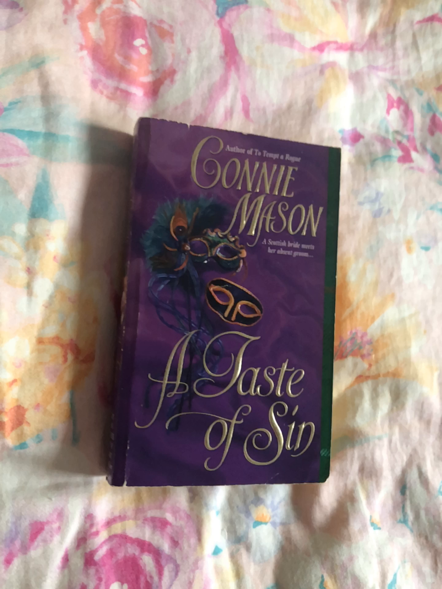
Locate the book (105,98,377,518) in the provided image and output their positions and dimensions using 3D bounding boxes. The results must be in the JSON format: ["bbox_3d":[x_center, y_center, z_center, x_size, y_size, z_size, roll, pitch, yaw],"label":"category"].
[{"bbox_3d":[0.010,0.006,0.248,0.120,0.040,0.180,5,77,-21],"label":"book"}]
